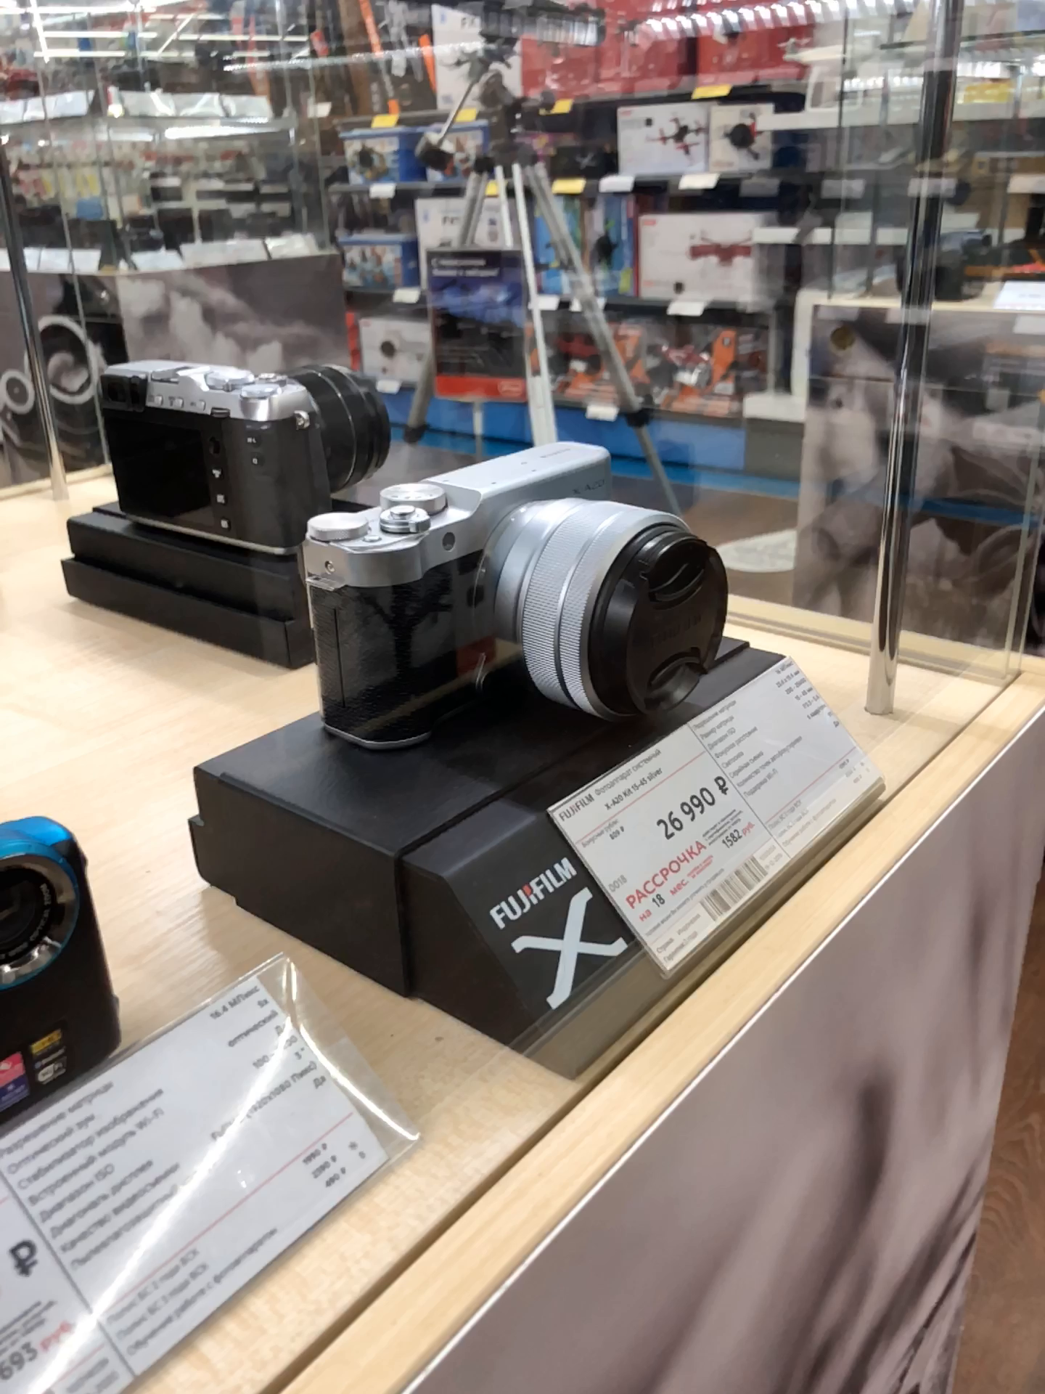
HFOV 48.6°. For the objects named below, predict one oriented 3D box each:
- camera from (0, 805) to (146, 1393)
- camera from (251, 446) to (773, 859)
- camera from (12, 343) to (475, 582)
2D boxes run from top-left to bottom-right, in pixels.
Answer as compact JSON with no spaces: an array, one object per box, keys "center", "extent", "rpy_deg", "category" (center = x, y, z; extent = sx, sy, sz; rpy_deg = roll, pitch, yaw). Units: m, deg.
[{"center":[-0.136,0.075,0.238],"extent":[0.025,0.064,0.106],"rpy_deg":[17,30,37],"category":"camera"},{"center":[0.002,-0.023,0.341],"extent":[0.093,0.070,0.120],"rpy_deg":[16,30,36],"category":"camera"},{"center":[-0.139,-0.127,0.583],"extent":[0.187,0.074,0.130],"rpy_deg":[16,30,35],"category":"camera"}]
